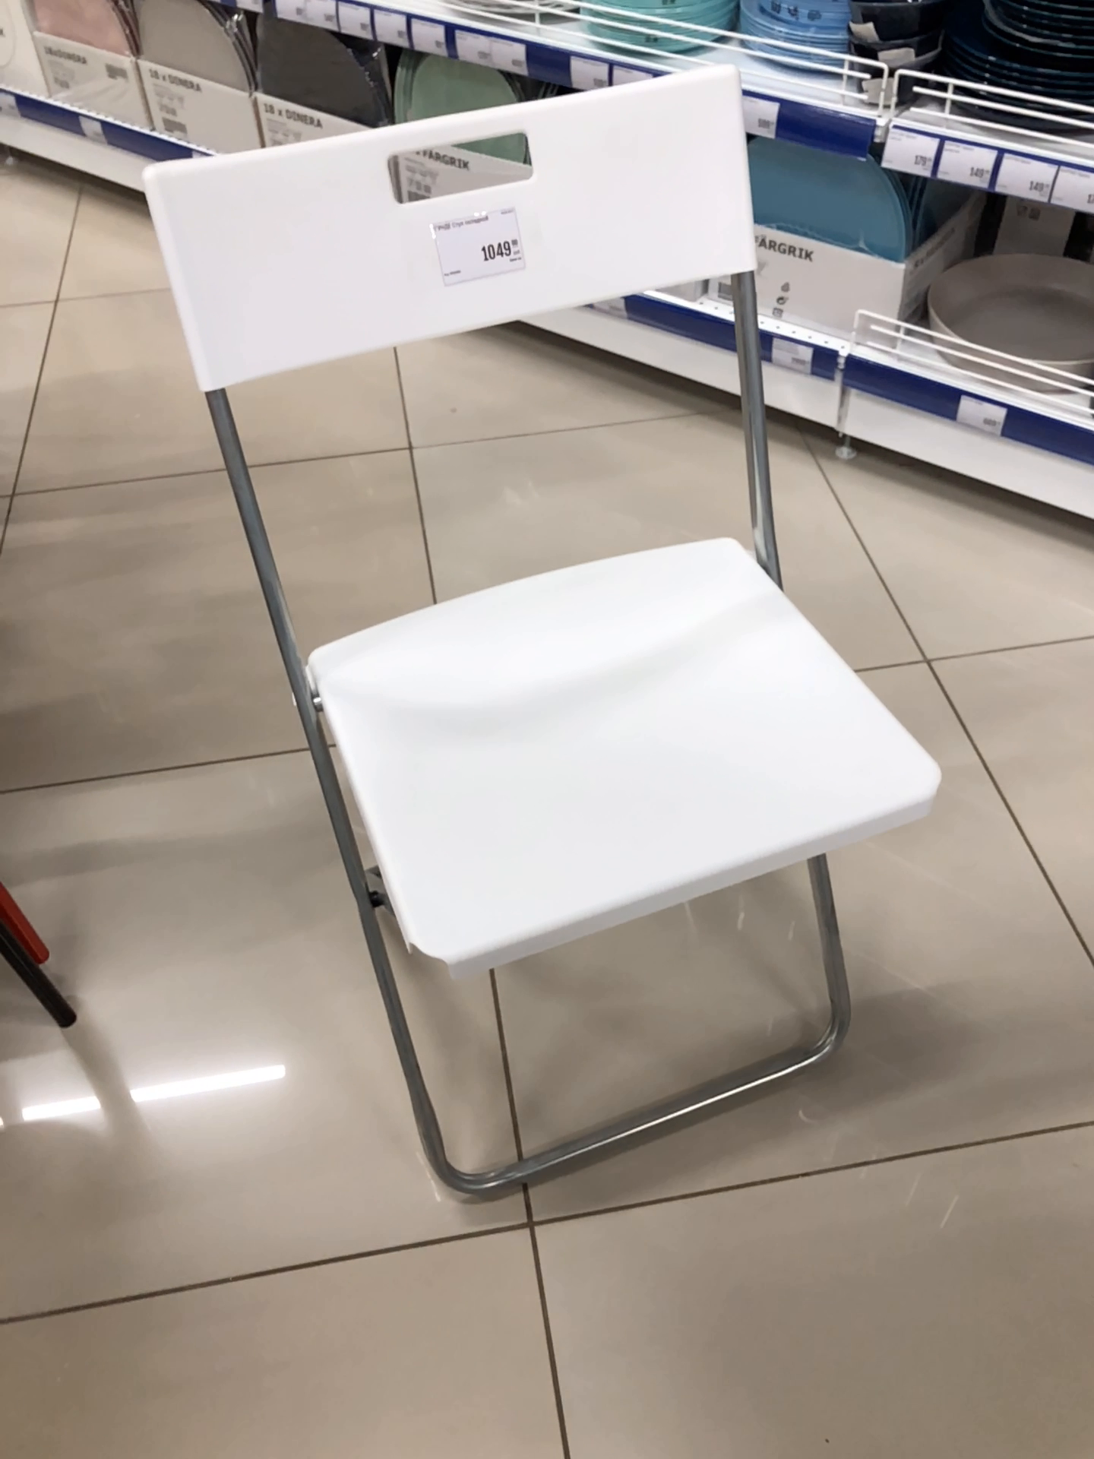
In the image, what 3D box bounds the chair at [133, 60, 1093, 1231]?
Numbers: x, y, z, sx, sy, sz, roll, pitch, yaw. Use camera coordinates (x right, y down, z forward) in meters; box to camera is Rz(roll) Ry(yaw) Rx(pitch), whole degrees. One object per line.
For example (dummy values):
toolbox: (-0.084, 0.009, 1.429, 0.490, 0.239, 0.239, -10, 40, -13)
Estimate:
chair: (0.023, -0.029, 0.927, 0.426, 0.711, 0.432, -17, 49, -13)
